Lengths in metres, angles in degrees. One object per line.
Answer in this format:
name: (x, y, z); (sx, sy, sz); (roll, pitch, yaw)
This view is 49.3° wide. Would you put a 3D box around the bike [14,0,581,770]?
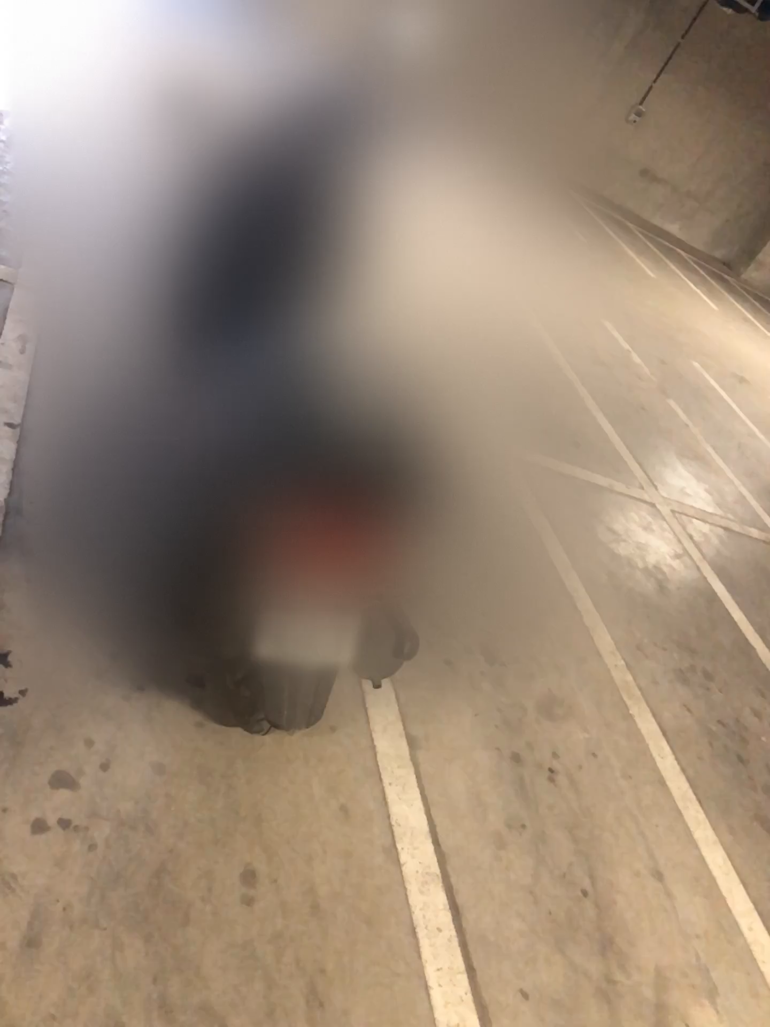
bike: (-0.410, -0.615, 2.143); (0.582, 1.188, 1.958); (14, 40, -30)
